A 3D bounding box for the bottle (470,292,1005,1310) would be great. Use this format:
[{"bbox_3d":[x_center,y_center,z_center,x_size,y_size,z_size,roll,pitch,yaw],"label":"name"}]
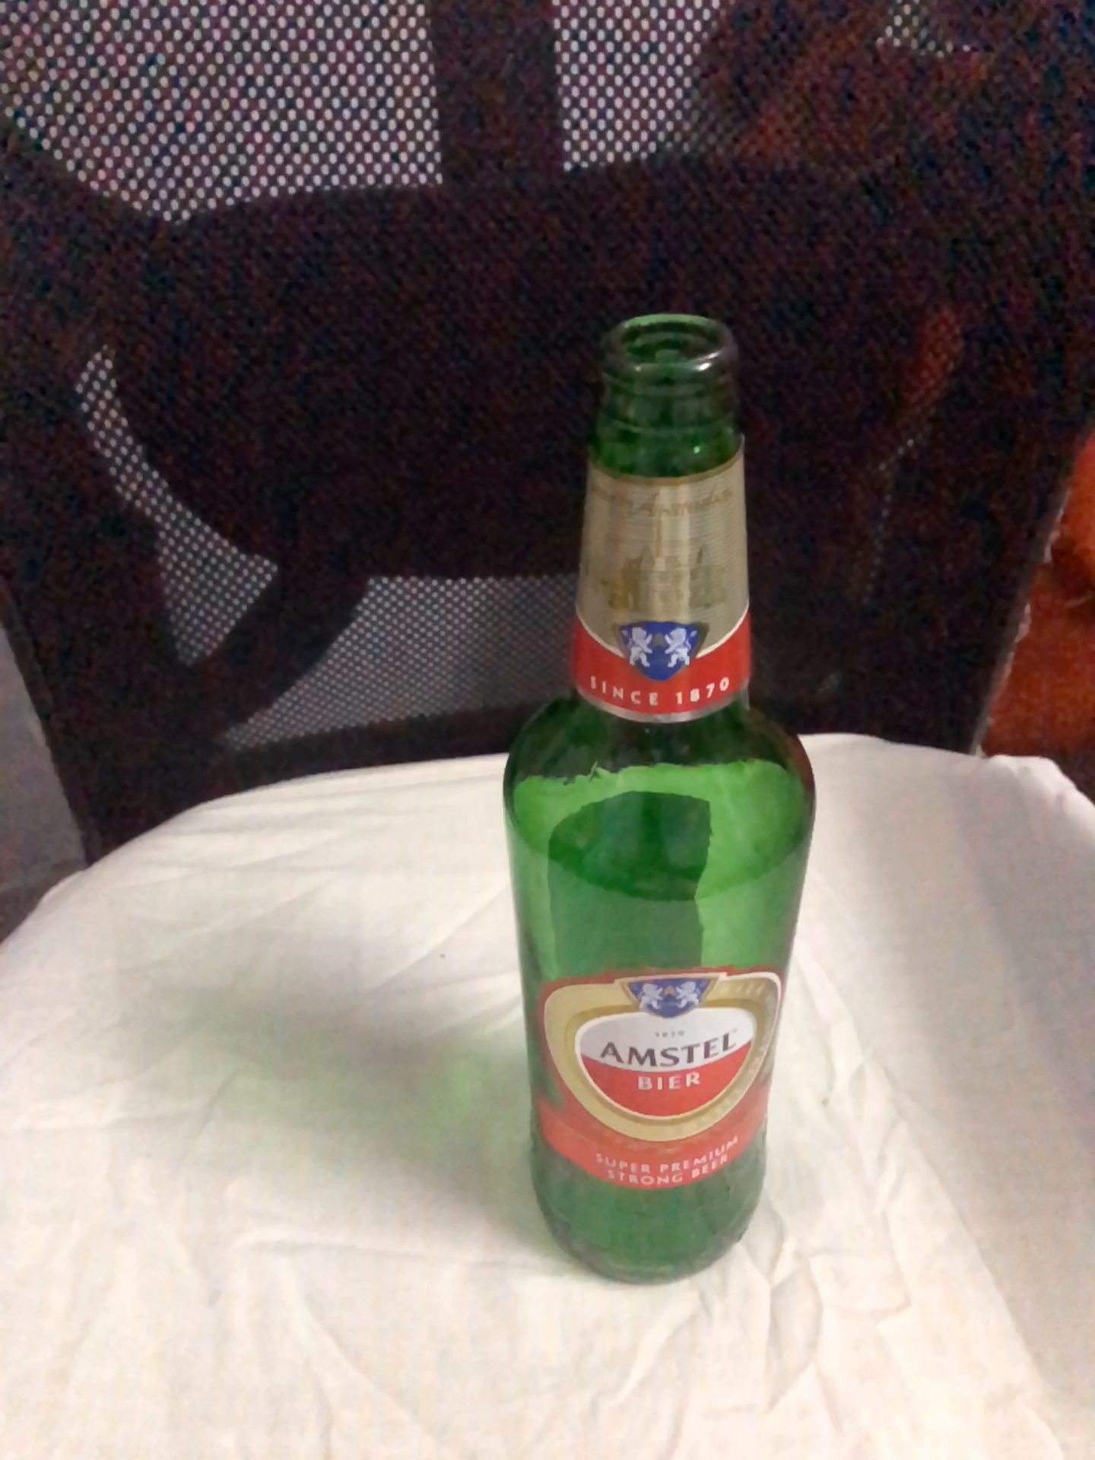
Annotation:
[{"bbox_3d":[0.027,0.044,0.298,0.080,0.279,0.060,-3,40,-5],"label":"bottle"}]
